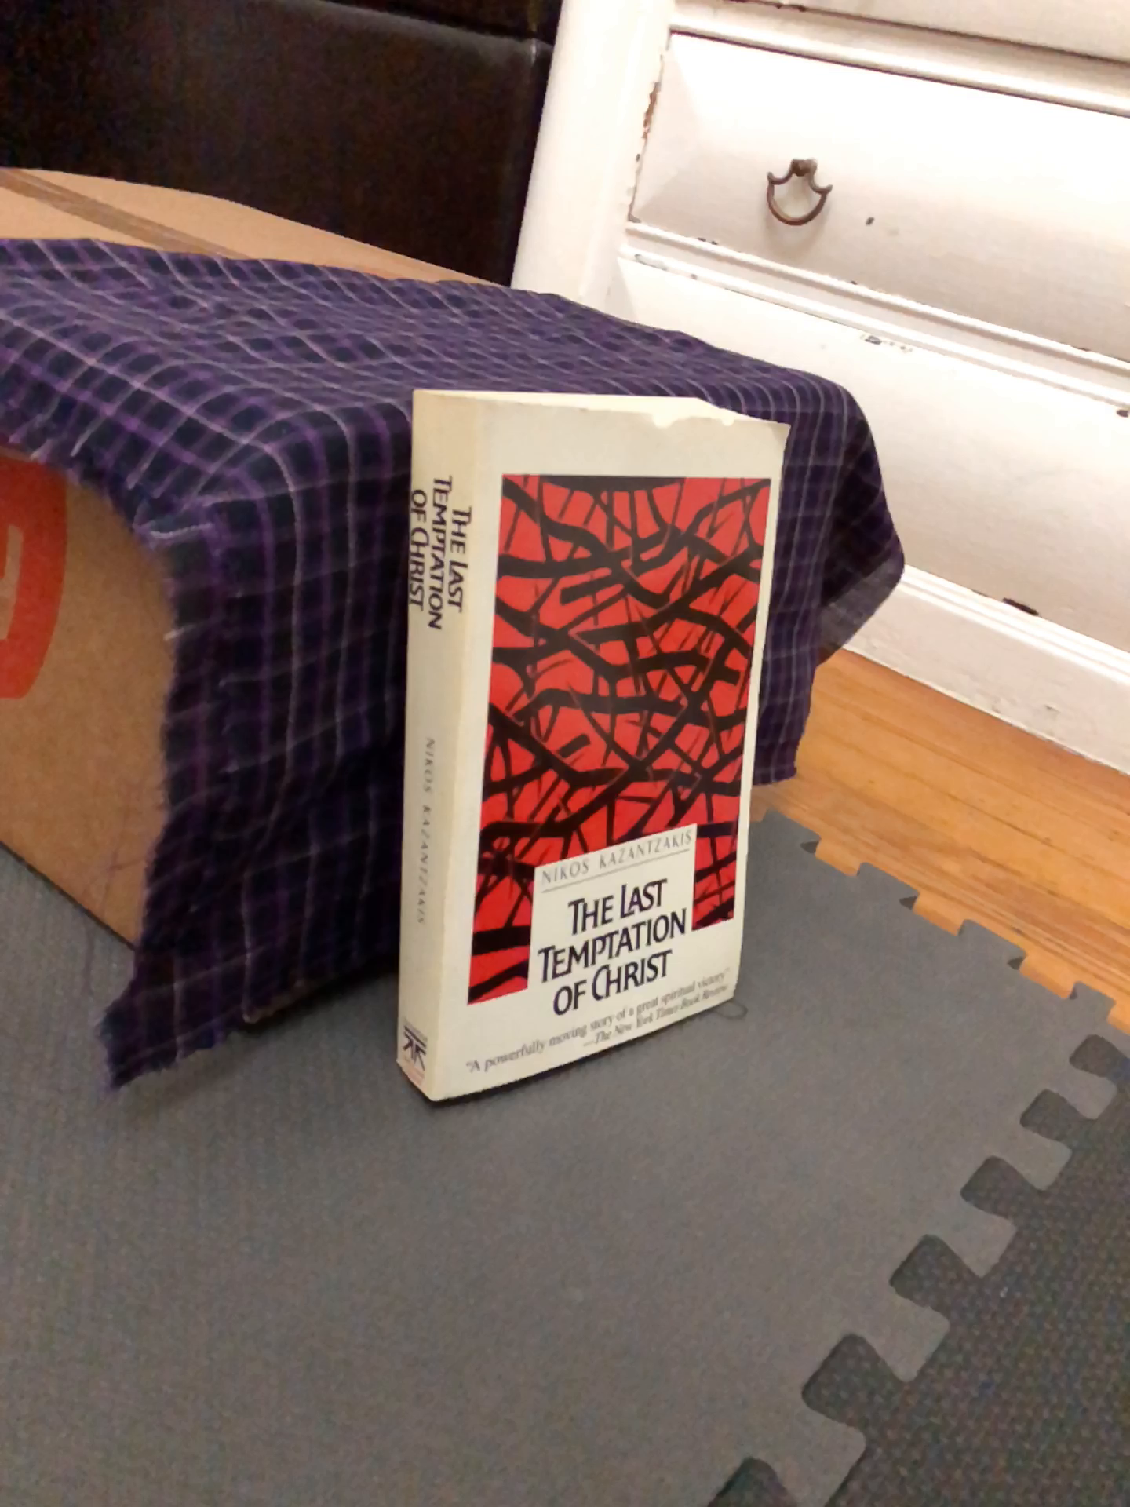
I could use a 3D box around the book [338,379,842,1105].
[{"bbox_3d":[0.008,-0.011,0.405,0.150,0.209,0.050,-11,23,-33],"label":"book"}]
